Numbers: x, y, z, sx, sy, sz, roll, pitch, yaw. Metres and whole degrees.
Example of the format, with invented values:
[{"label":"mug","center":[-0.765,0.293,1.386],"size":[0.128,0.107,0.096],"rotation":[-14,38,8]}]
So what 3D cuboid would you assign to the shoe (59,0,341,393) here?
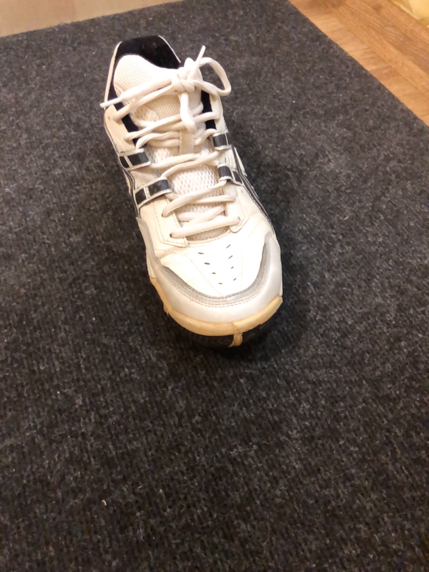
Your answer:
[{"label":"shoe","center":[-0.031,-0.088,0.346],"size":[0.100,0.110,0.290],"rotation":[-15,54,-10]}]
